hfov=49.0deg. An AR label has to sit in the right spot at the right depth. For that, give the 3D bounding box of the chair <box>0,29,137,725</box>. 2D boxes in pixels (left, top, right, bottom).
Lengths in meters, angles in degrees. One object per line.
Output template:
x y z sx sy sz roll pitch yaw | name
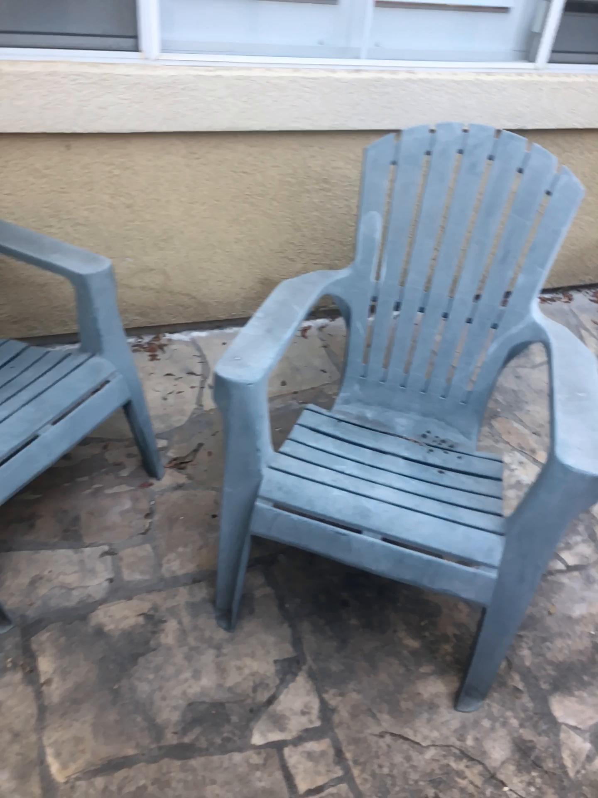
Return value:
-1.066 -0.107 1.503 0.909 1.220 0.747 14 37 22 | chair

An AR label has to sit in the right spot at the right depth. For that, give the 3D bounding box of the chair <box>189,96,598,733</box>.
0.275 -0.058 1.426 0.690 0.882 0.928 14 35 10 | chair
